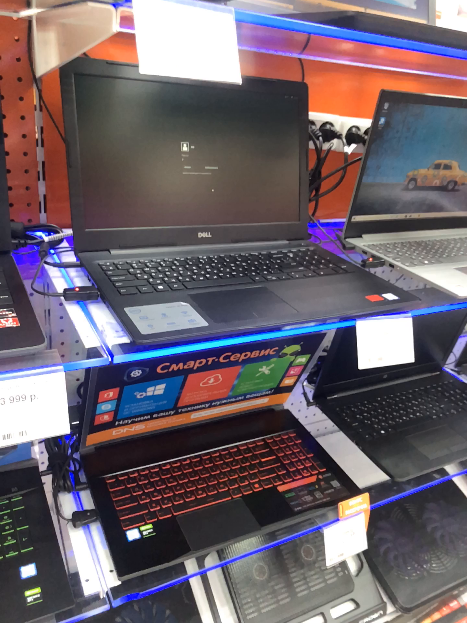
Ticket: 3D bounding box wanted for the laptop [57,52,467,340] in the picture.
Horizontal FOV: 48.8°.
[{"bbox_3d":[0.009,-0.166,0.642,0.374,0.233,0.317,-7,27,-29],"label":"laptop"}]
